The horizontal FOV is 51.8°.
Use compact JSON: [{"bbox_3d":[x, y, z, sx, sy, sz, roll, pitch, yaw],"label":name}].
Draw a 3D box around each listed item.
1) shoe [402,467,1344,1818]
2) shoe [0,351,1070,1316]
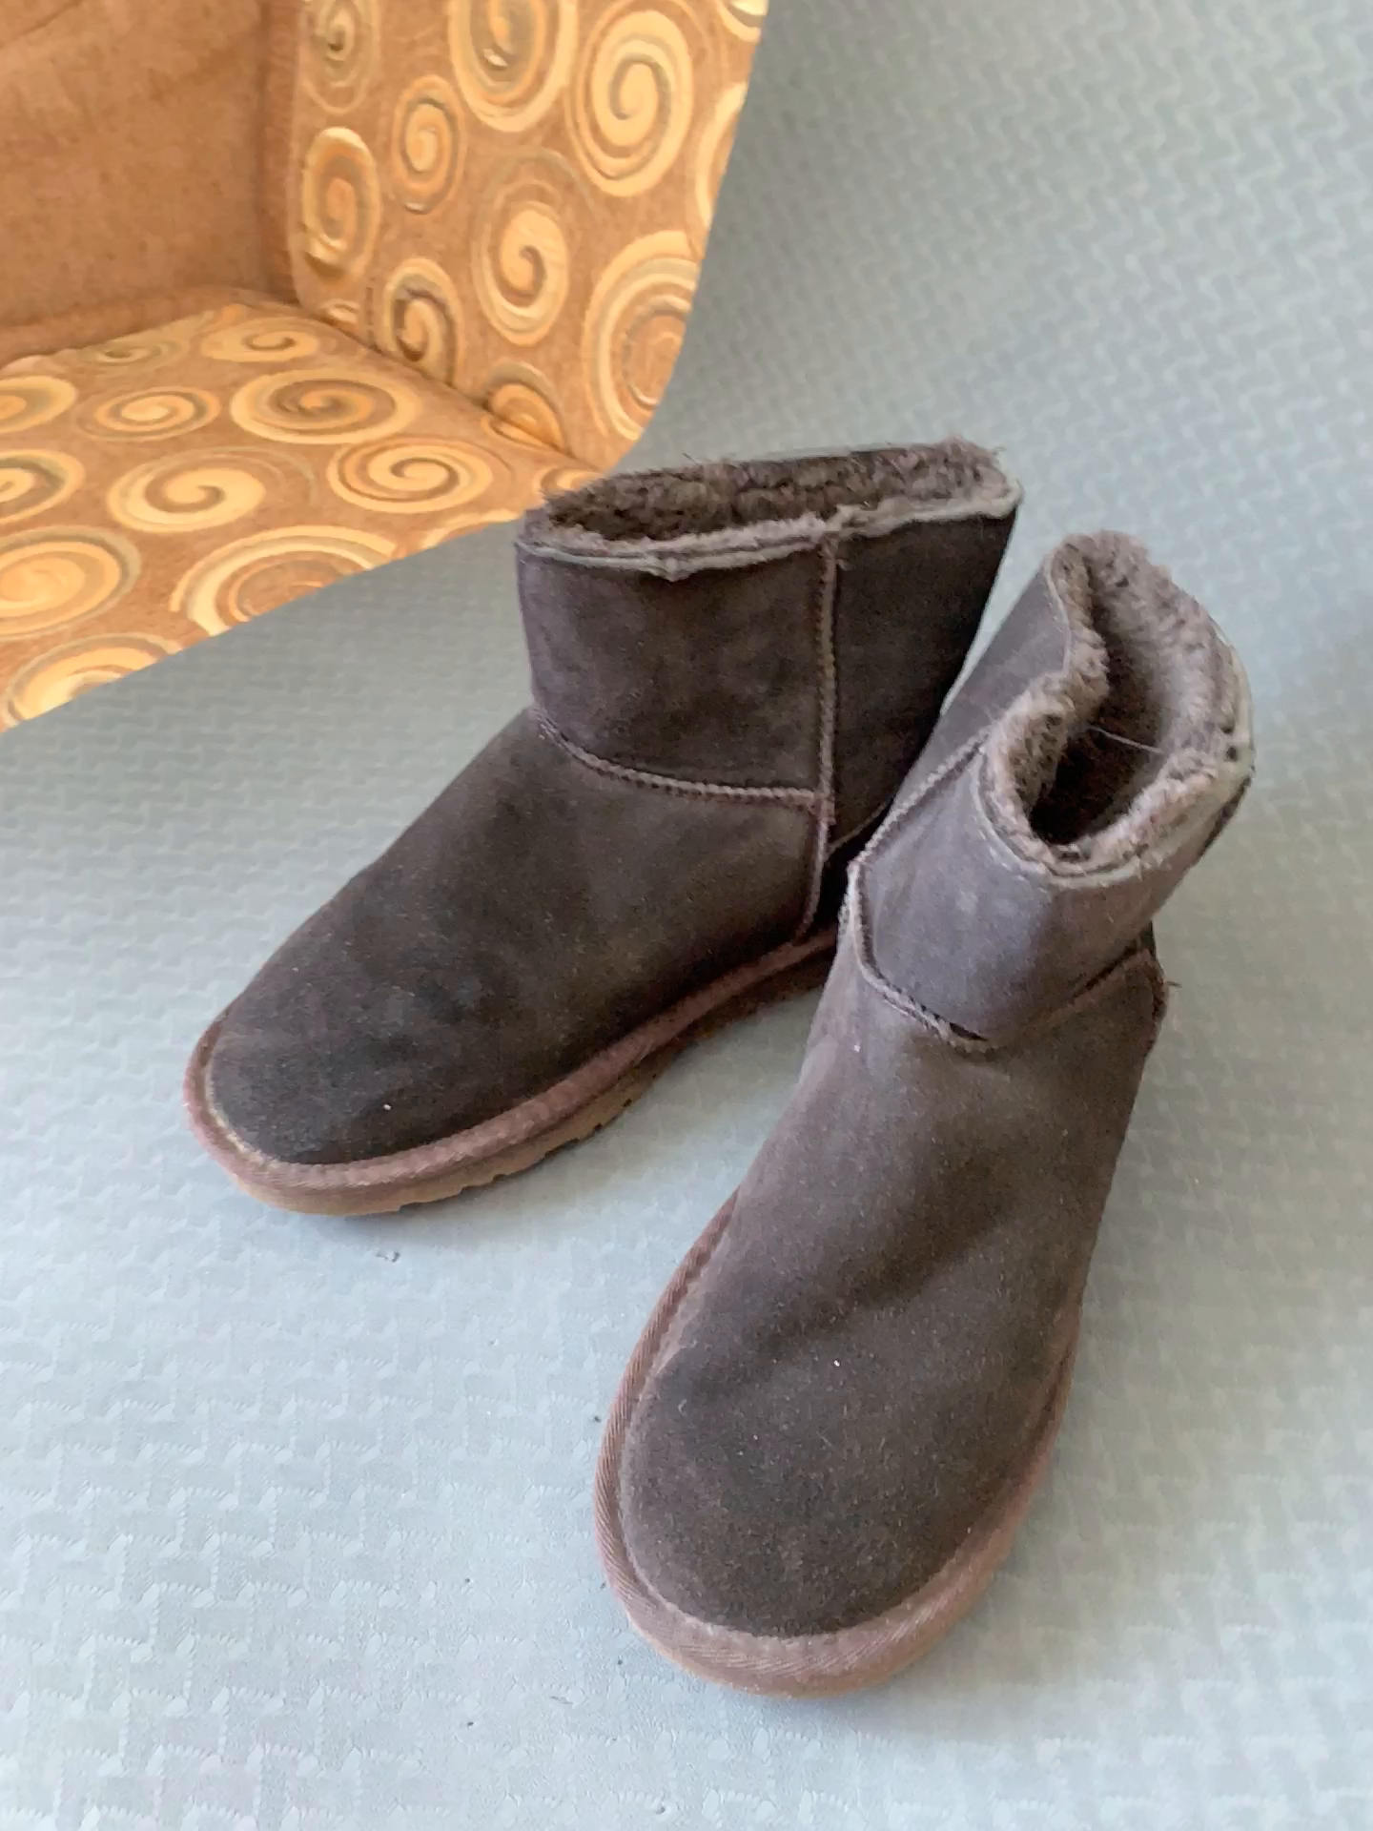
[{"bbox_3d":[0.058,0.033,0.323,0.100,0.139,0.254,18,51,17],"label":"shoe"},{"bbox_3d":[-0.033,-0.031,0.387,0.253,0.139,0.100,-29,53,-23],"label":"shoe"}]
